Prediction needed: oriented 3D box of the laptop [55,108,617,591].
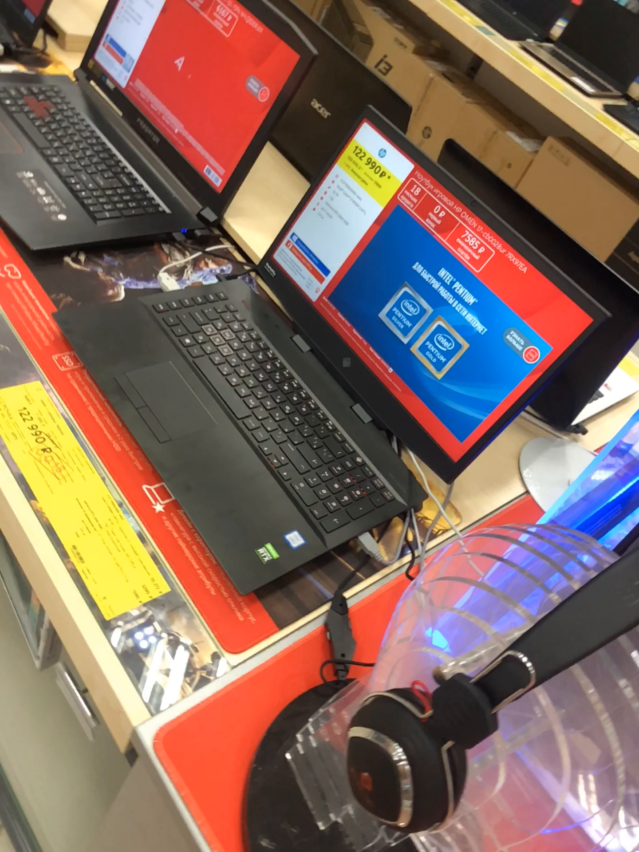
[{"bbox_3d":[-0.001,-0.120,0.750,0.376,0.246,0.392,-19,59,-38],"label":"laptop"}]
